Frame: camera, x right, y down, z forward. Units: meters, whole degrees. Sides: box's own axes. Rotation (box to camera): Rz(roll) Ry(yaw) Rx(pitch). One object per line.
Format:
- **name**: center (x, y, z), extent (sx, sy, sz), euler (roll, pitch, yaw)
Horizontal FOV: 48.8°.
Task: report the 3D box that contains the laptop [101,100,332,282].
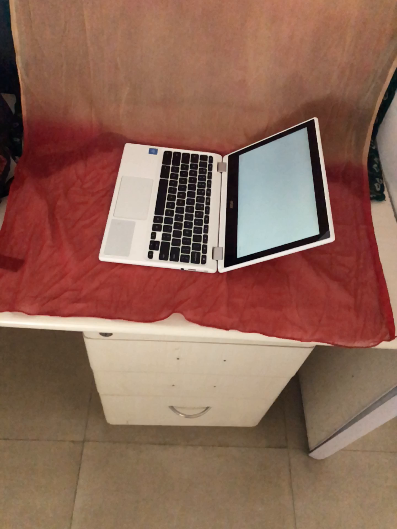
- **laptop**: center (0.030, -0.132, 0.755), extent (0.337, 0.113, 0.264), euler (7, 55, -2)
